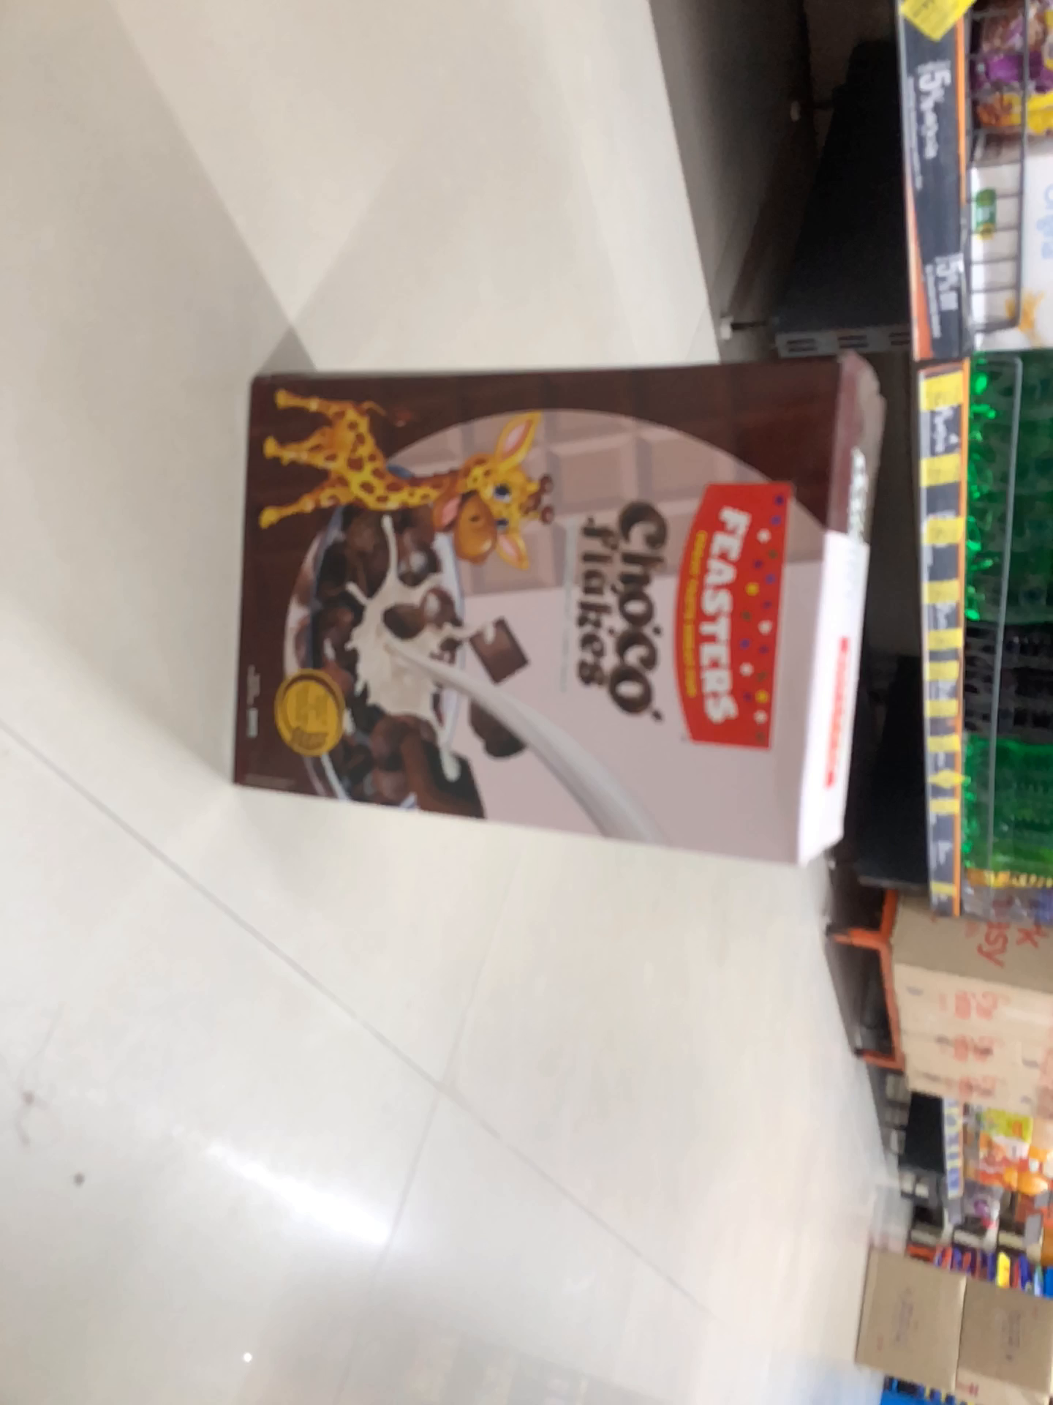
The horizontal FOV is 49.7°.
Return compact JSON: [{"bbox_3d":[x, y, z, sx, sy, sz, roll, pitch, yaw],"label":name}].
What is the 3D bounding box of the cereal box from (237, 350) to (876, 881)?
[{"bbox_3d":[0.004,-0.041,0.487,0.060,0.258,0.190,-6,101,-66],"label":"cereal box"}]
